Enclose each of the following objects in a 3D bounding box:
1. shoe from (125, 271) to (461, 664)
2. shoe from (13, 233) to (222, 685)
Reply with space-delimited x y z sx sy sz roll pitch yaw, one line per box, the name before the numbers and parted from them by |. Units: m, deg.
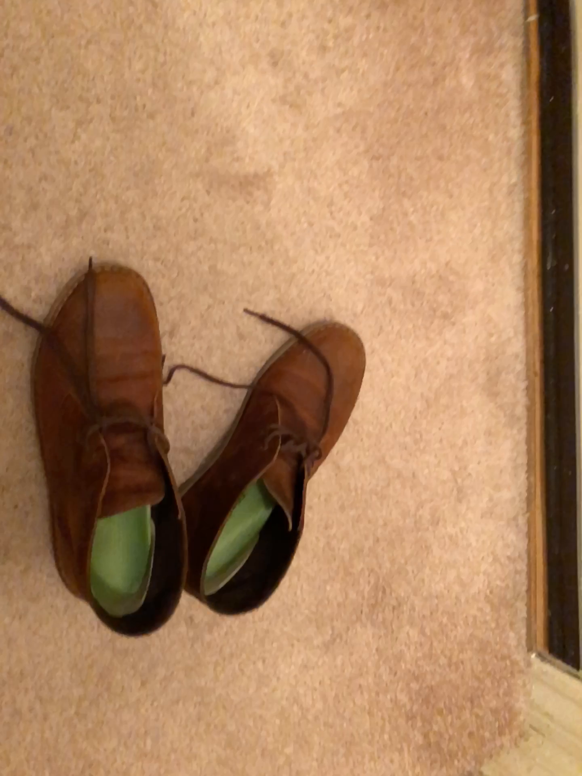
shoe | -0.002 0.056 0.572 0.110 0.139 0.303 37 79 -22
shoe | -0.142 0.042 0.508 0.110 0.139 0.303 -7 97 -24
